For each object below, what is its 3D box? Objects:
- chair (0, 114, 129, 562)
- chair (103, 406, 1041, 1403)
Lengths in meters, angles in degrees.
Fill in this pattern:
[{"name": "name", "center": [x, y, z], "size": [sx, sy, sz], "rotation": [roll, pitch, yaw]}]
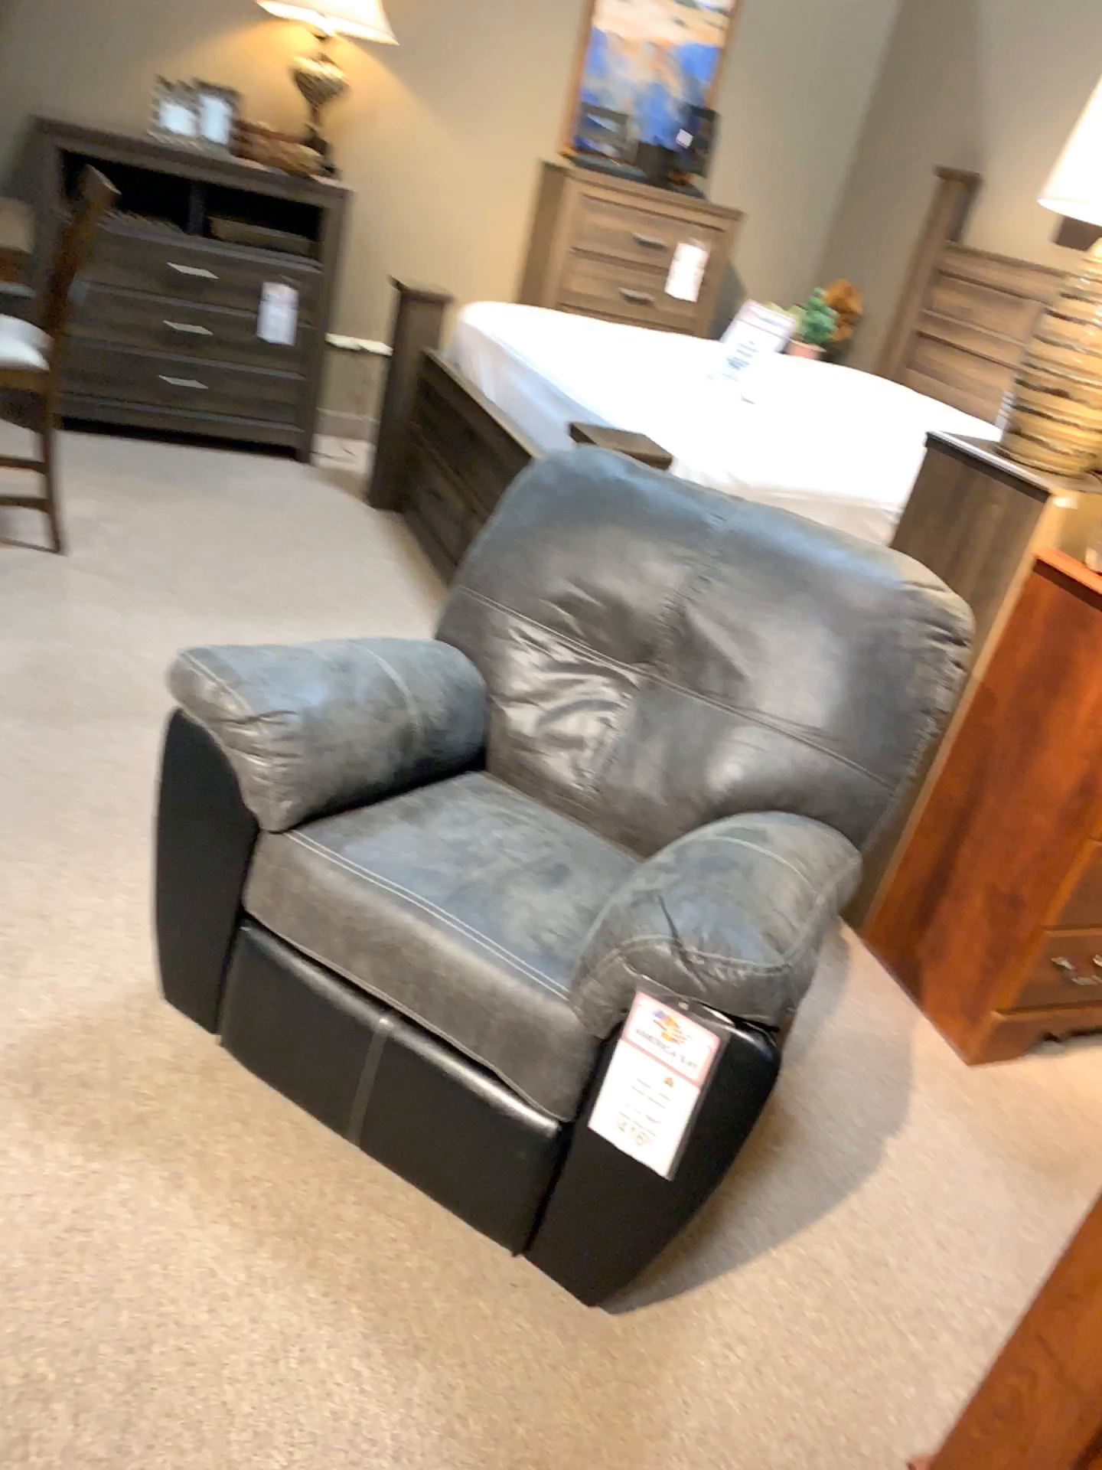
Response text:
[{"name": "chair", "center": [-1.545, -1.056, 3.072], "size": [0.625, 1.002, 0.490], "rotation": [-1, 30, -27]}, {"name": "chair", "center": [0.021, 0.113, 1.770], "size": [0.989, 0.922, 0.908], "rotation": [26, 29, 22]}]
